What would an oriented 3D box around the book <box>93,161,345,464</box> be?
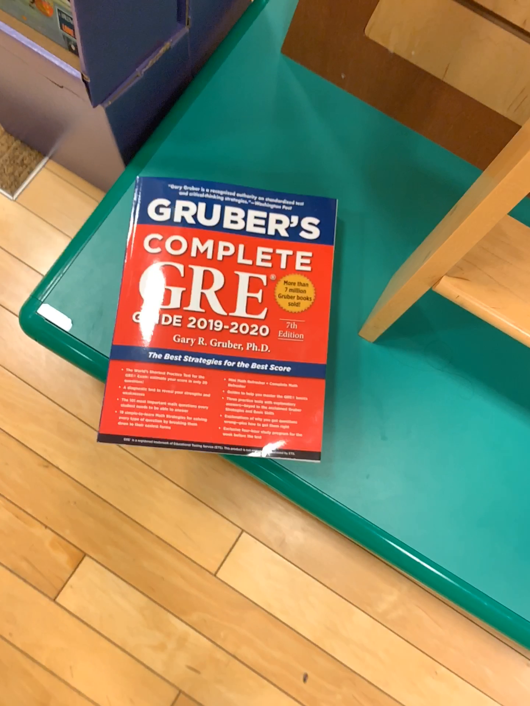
[{"bbox_3d":[-0.039,-0.043,0.562,0.220,0.040,0.290,6,78,-2],"label":"book"}]
